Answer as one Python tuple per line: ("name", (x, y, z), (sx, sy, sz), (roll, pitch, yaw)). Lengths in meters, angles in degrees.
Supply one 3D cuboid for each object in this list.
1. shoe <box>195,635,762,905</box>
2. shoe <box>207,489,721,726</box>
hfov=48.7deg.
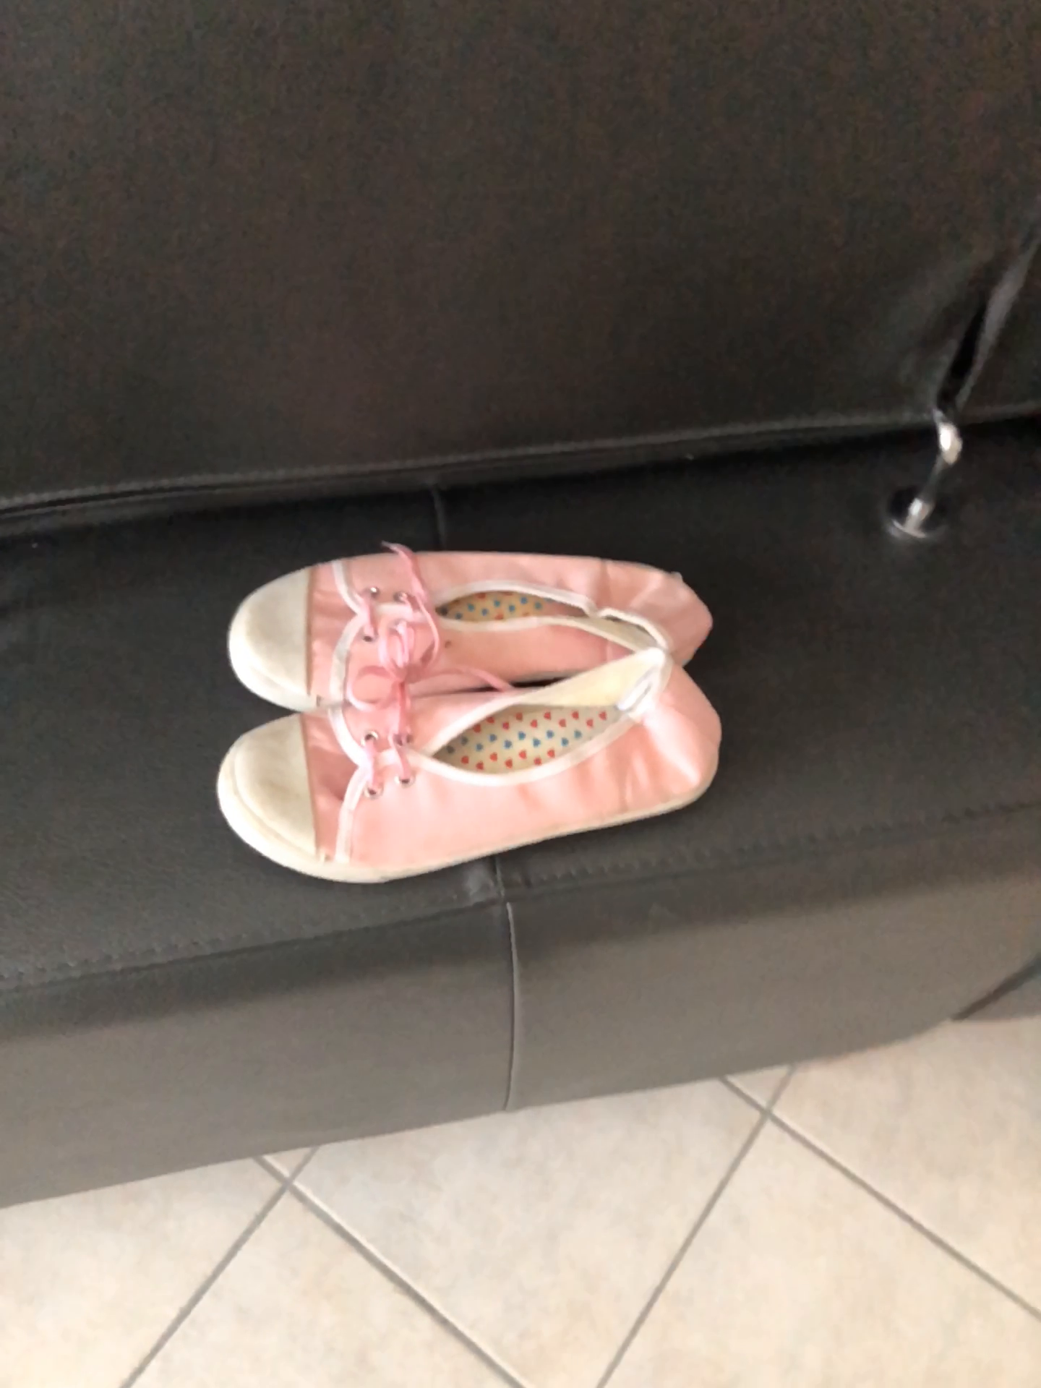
("shoe", (-0.021, 0.032, 0.524), (0.240, 0.040, 0.090), (-6, 60, -7))
("shoe", (-0.030, -0.045, 0.575), (0.240, 0.040, 0.090), (-6, 60, -7))
